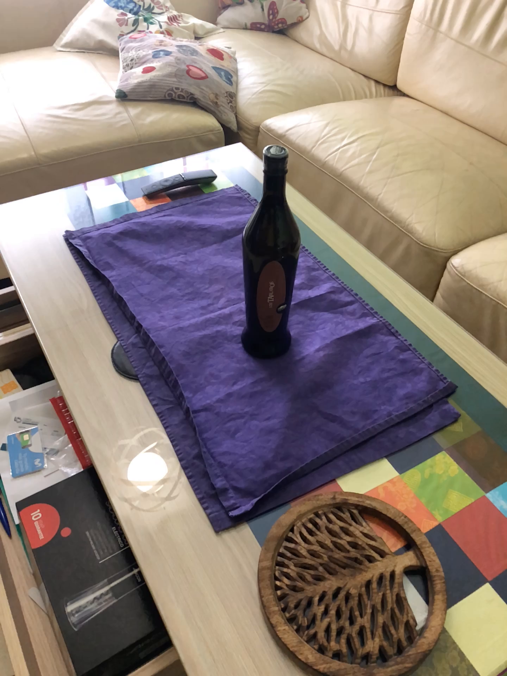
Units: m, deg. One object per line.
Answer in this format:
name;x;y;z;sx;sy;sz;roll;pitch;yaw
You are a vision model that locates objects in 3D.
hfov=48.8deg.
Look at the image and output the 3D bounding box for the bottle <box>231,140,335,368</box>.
bottle;0.028;-0.097;0.721;0.100;0.279;0.100;1;45;-1
